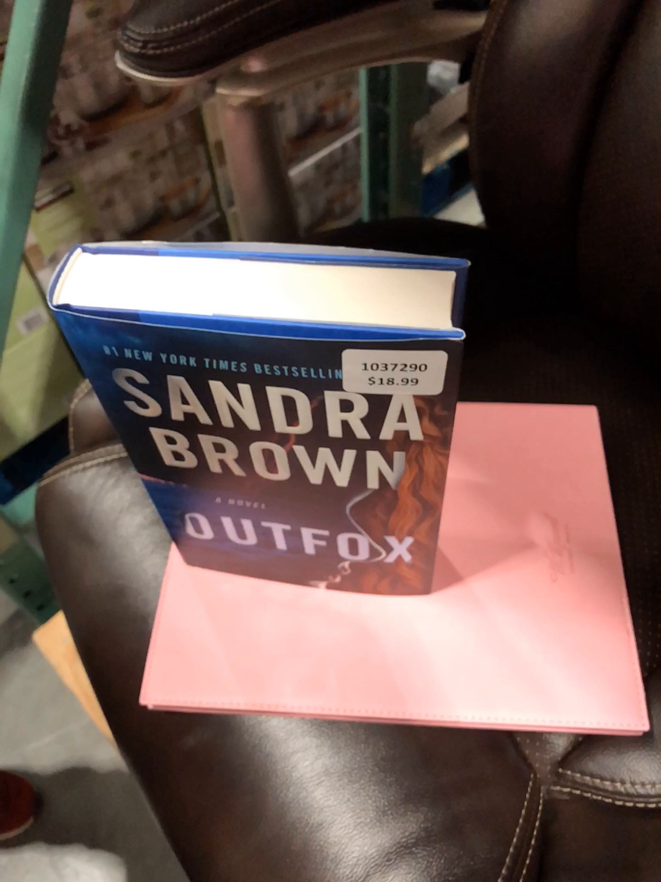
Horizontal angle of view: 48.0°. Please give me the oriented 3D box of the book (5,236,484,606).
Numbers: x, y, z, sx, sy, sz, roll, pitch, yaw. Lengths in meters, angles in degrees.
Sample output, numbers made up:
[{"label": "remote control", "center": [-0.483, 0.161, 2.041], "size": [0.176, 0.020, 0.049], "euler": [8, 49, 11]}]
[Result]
[{"label": "book", "center": [-0.024, 0.008, 0.364], "size": [0.167, 0.228, 0.048], "euler": [5, 58, 7]}]
